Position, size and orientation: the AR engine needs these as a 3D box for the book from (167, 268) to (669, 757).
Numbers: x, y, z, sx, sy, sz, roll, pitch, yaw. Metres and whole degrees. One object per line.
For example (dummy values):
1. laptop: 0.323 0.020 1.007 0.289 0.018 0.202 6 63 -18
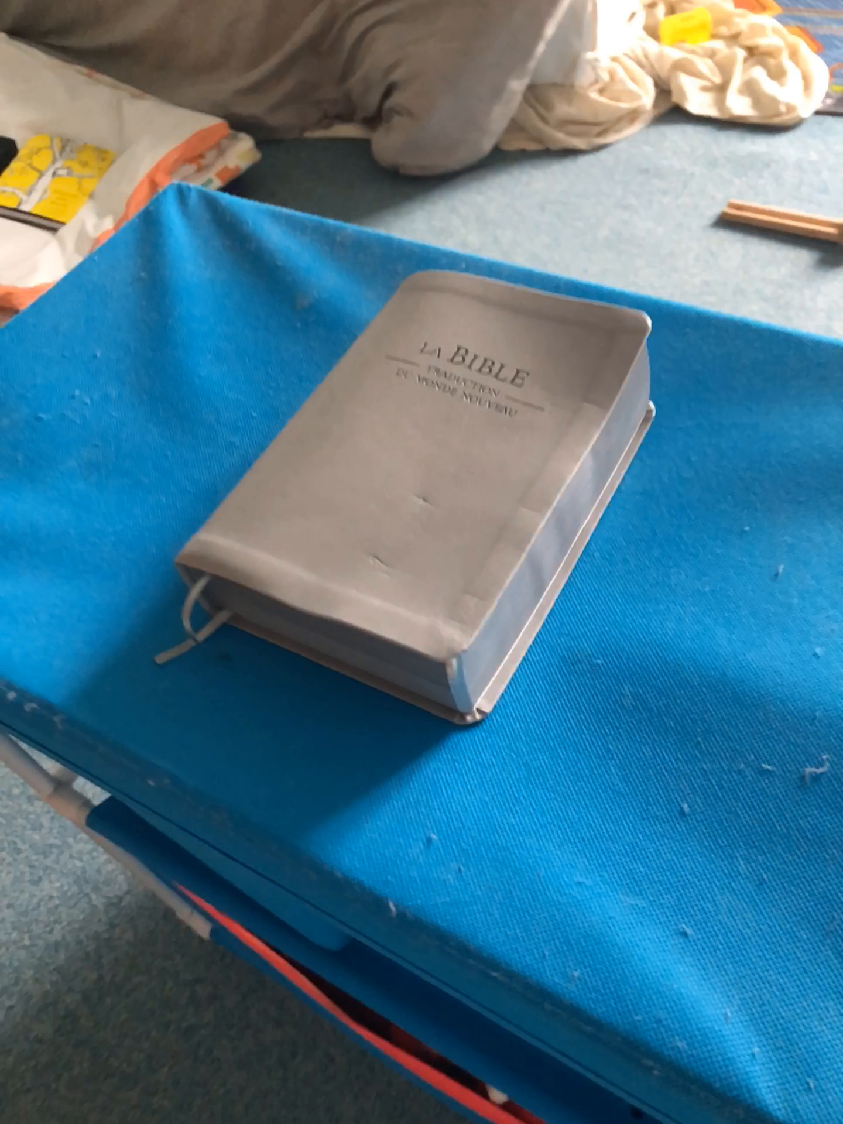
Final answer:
1. book: 0.007 -0.032 0.374 0.121 0.051 0.181 20 60 25
